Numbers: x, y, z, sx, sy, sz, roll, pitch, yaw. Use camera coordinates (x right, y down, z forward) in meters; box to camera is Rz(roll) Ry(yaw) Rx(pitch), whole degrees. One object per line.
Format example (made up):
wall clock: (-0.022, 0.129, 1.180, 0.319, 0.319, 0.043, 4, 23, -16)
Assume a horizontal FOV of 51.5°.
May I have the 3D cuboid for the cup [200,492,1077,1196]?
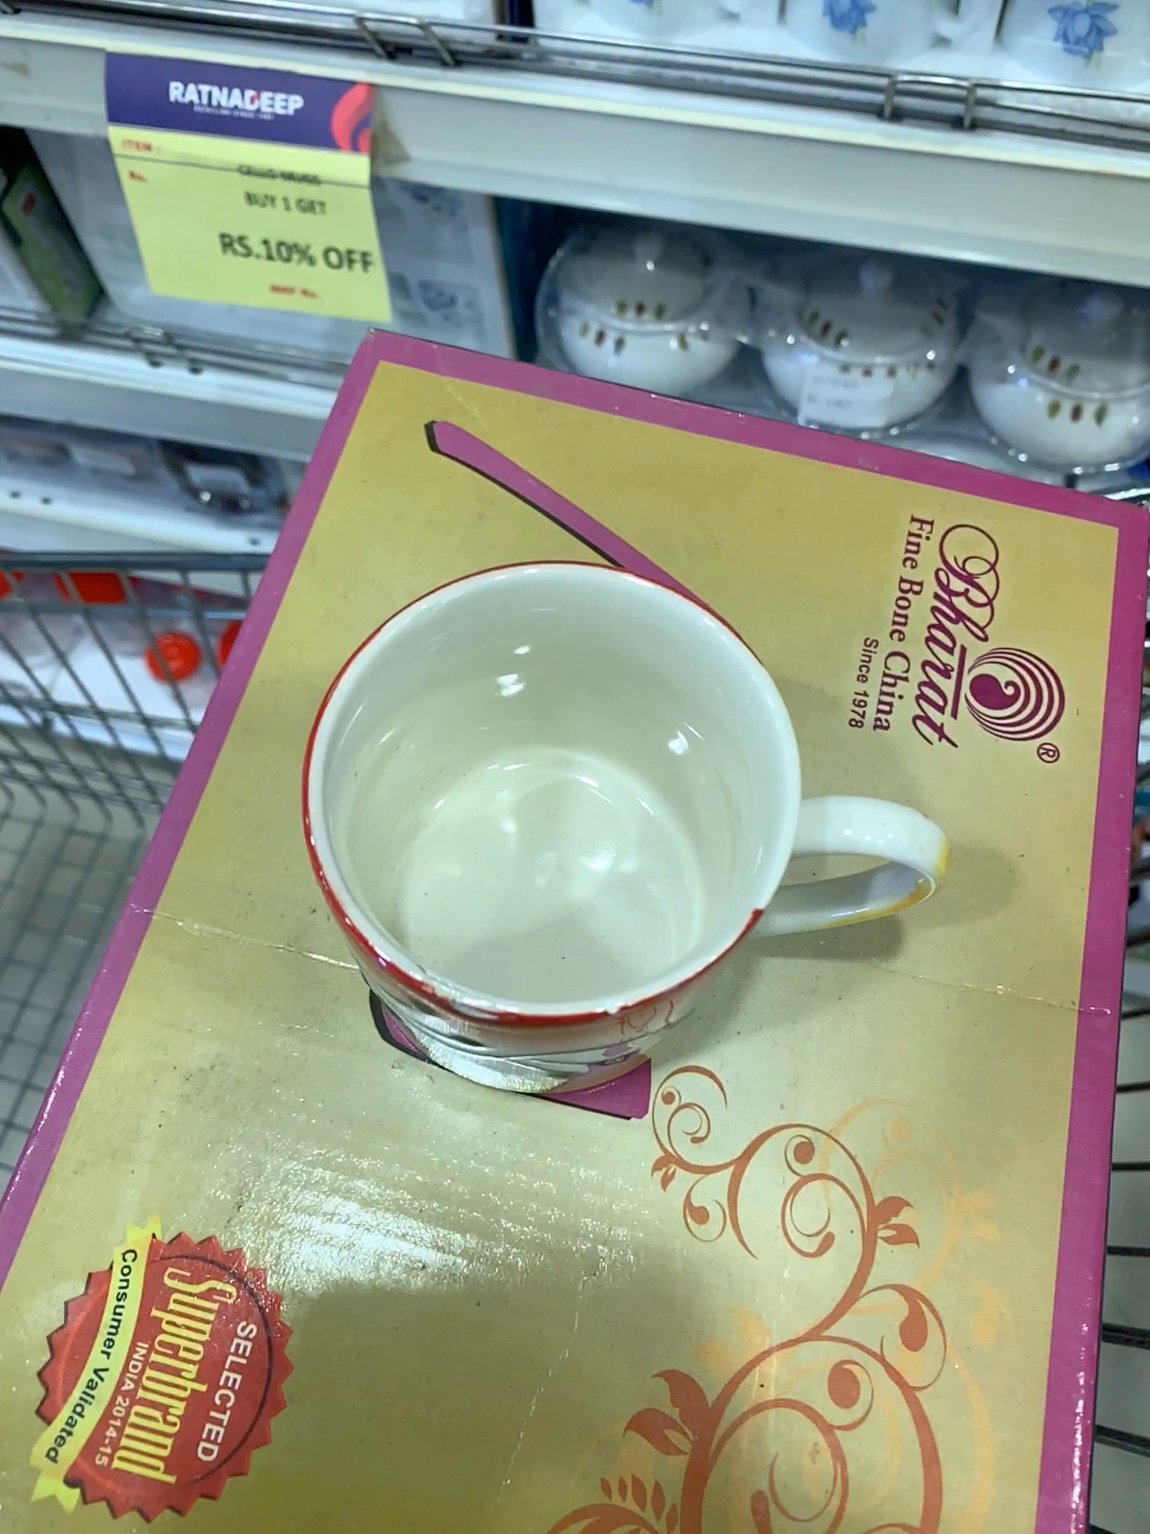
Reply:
cup: (0.012, 0.017, 0.196, 0.110, 0.070, 0.080, 9, 66, 1)
